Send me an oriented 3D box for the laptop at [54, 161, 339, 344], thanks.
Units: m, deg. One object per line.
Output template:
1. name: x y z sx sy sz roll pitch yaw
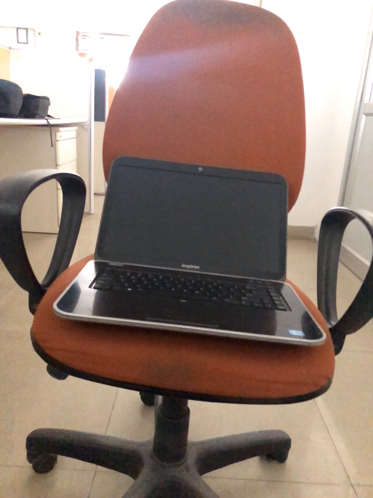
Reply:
1. laptop: 0.009 -0.028 0.695 0.352 0.173 0.352 5 18 2
